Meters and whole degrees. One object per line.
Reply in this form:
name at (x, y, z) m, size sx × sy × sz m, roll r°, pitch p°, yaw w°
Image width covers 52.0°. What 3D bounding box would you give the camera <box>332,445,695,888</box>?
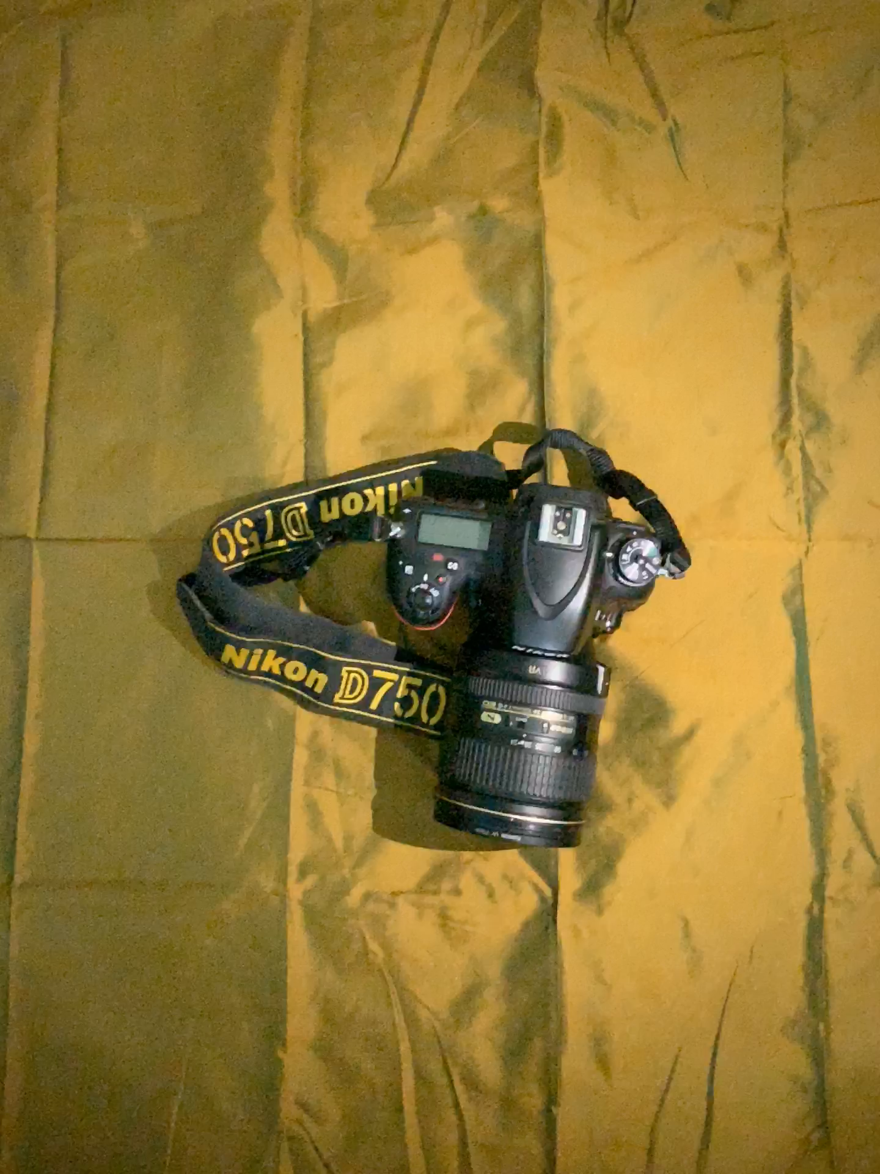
camera at (0.038, 0.040, 0.473) m, size 0.150 × 0.101 × 0.190 m, roll 7°, pitch 83°, yaw 3°
